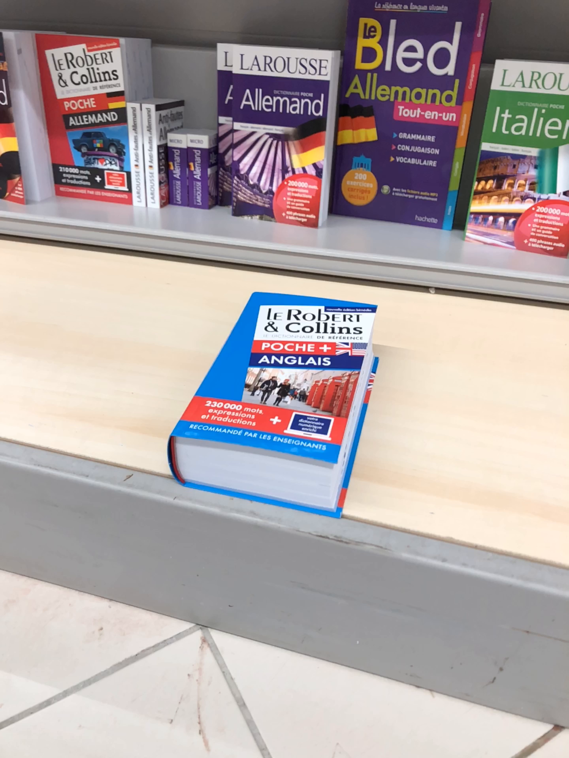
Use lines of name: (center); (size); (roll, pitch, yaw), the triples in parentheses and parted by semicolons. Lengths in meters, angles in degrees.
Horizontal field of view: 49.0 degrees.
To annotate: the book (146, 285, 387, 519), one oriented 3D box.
book: (-0.002, 0.005, 0.468); (0.128, 0.051, 0.185); (8, 40, 12)
